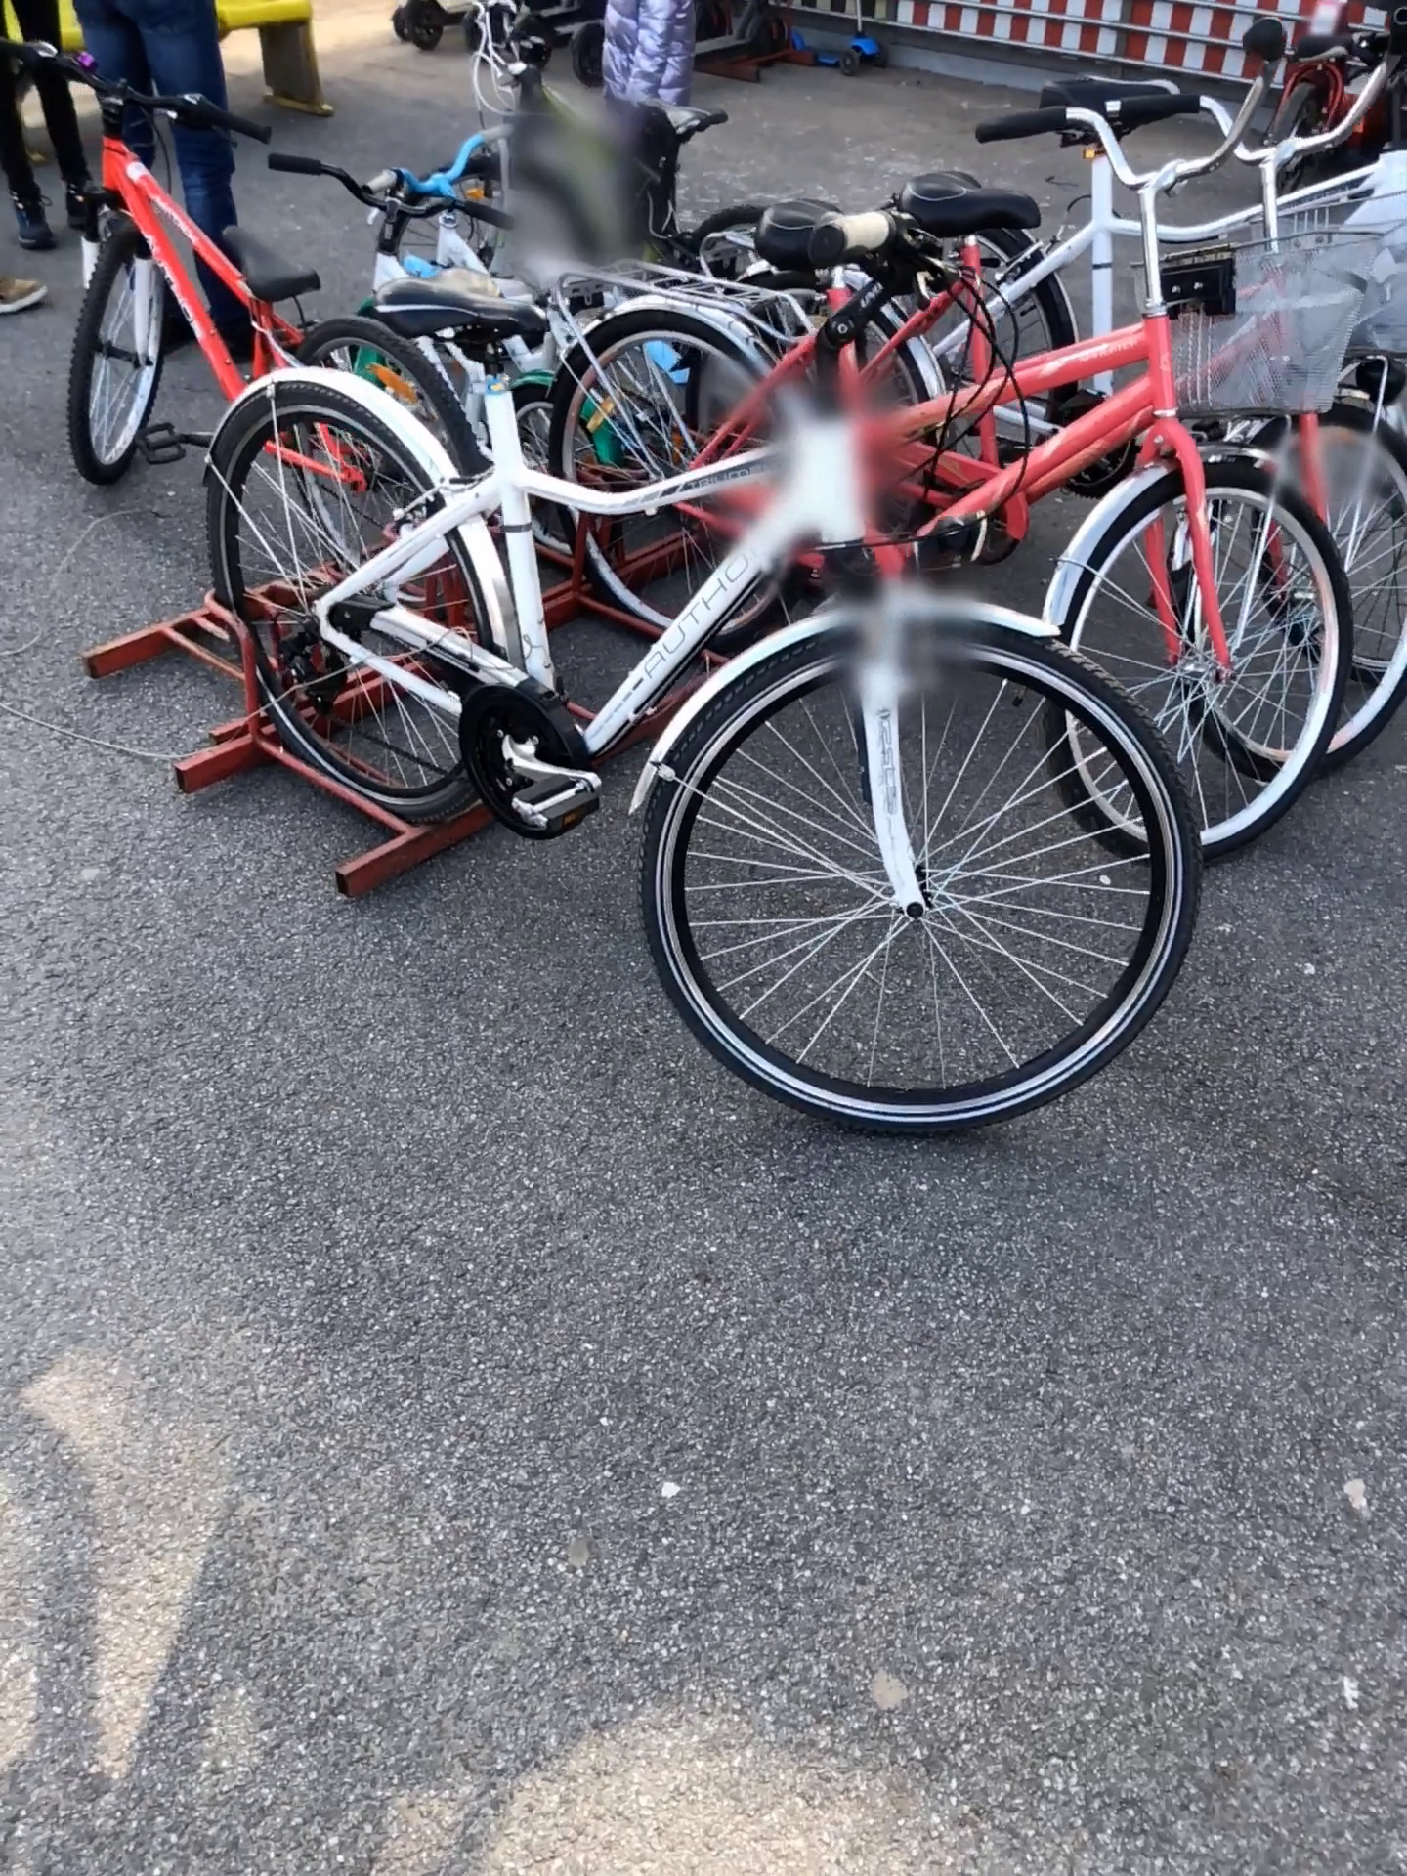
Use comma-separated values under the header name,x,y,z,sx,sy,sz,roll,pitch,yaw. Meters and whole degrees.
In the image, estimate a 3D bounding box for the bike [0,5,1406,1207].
name,x,y,z,sx,sy,sz,roll,pitch,yaw
bike,-0.077,-0.537,2.131,1.700,1.111,0.647,22,45,25
